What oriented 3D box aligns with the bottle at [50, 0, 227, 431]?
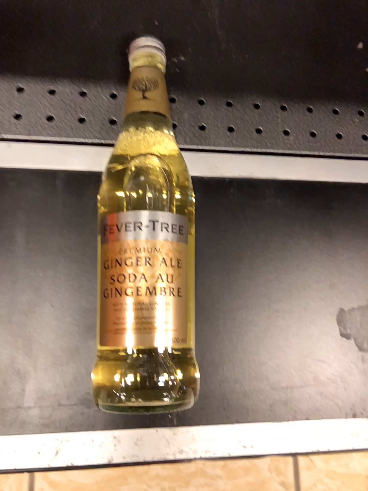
[{"bbox_3d":[-0.034,-0.033,0.287,0.090,0.090,0.280,0,75,-9],"label":"bottle"}]
